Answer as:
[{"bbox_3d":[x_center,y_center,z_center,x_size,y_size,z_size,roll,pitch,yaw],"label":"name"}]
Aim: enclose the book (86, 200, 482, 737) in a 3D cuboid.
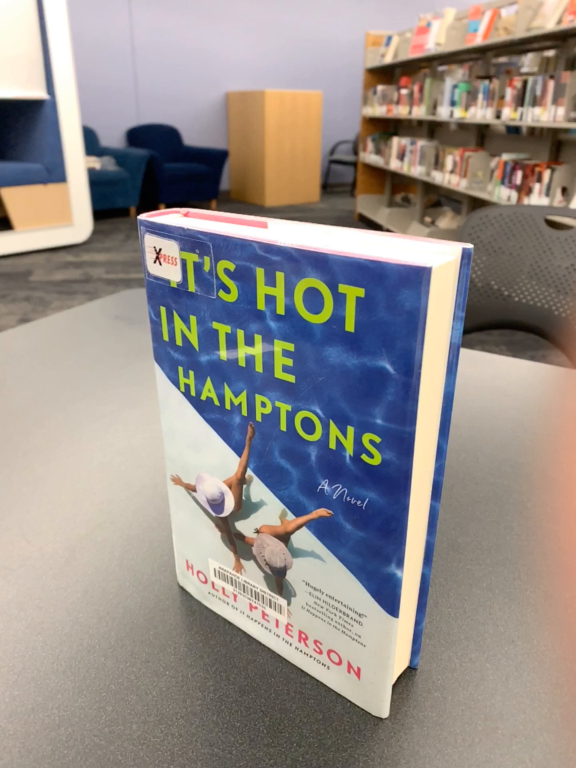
[{"bbox_3d":[-0.011,0.033,0.294,0.170,0.219,0.050,18,31,34],"label":"book"}]
